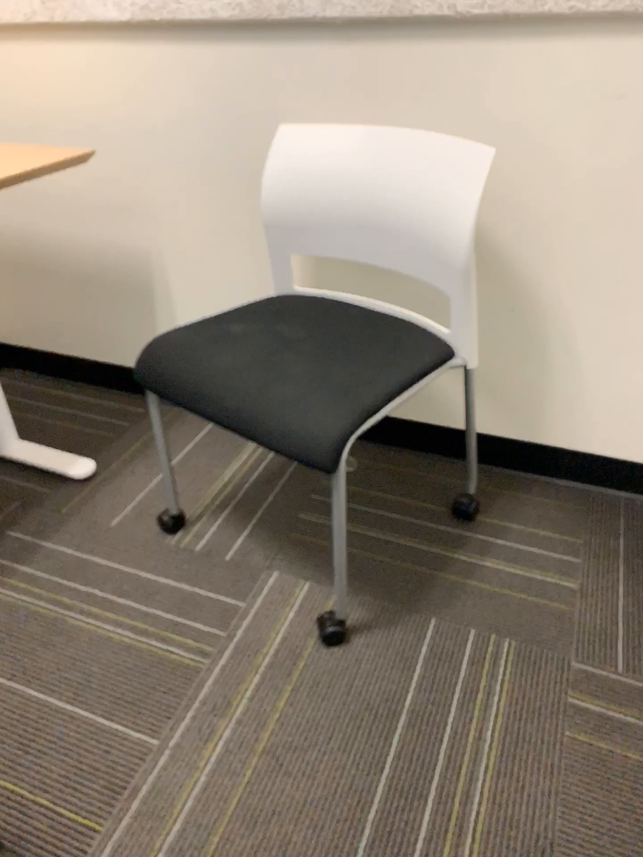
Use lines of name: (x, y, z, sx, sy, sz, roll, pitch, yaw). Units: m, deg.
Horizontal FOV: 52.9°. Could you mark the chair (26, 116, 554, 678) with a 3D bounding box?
chair: (-0.022, -0.129, 1.278, 0.622, 0.775, 0.622, 21, 40, 30)
